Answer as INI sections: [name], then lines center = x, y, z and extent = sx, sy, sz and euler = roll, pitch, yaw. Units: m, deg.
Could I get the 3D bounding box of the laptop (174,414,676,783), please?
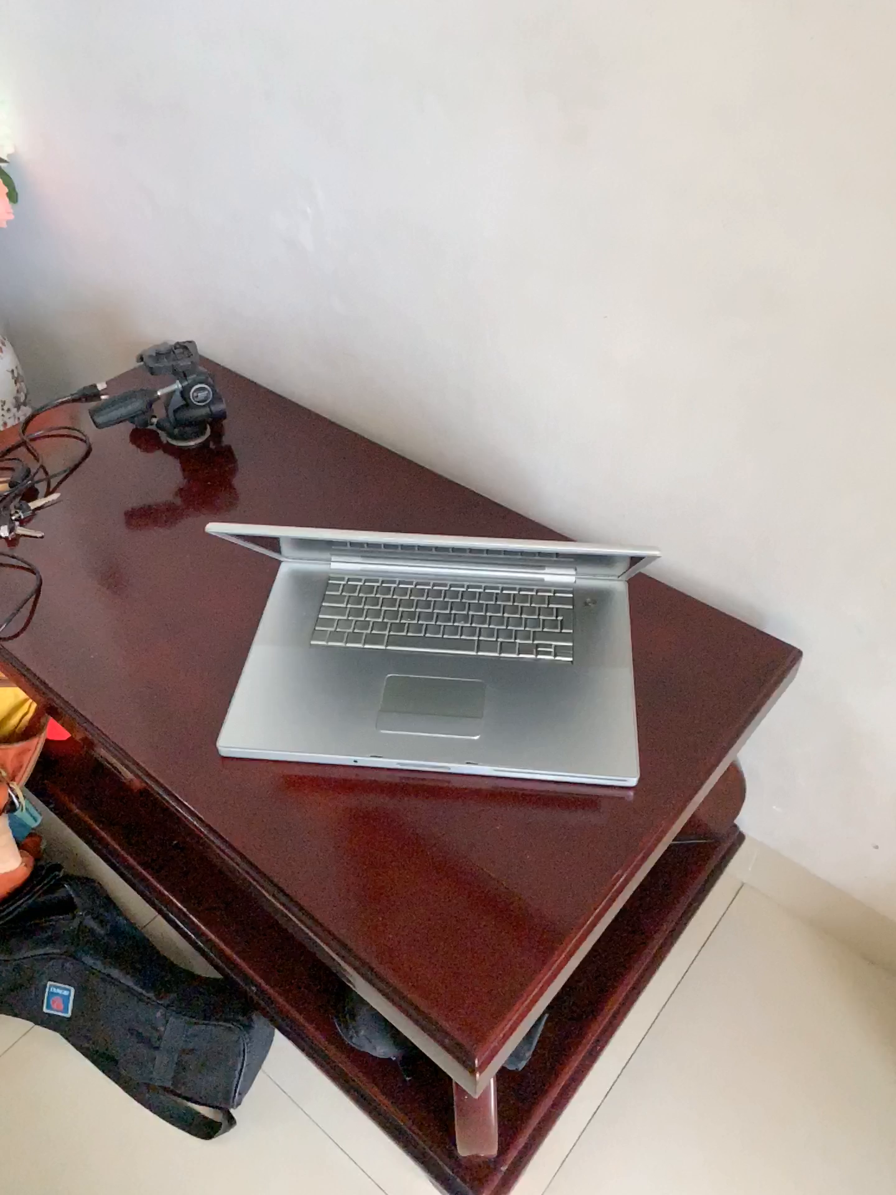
[laptop]
center = -0.009, -0.007, 0.886
extent = 0.399, 0.193, 0.266
euler = 4, 44, 3
